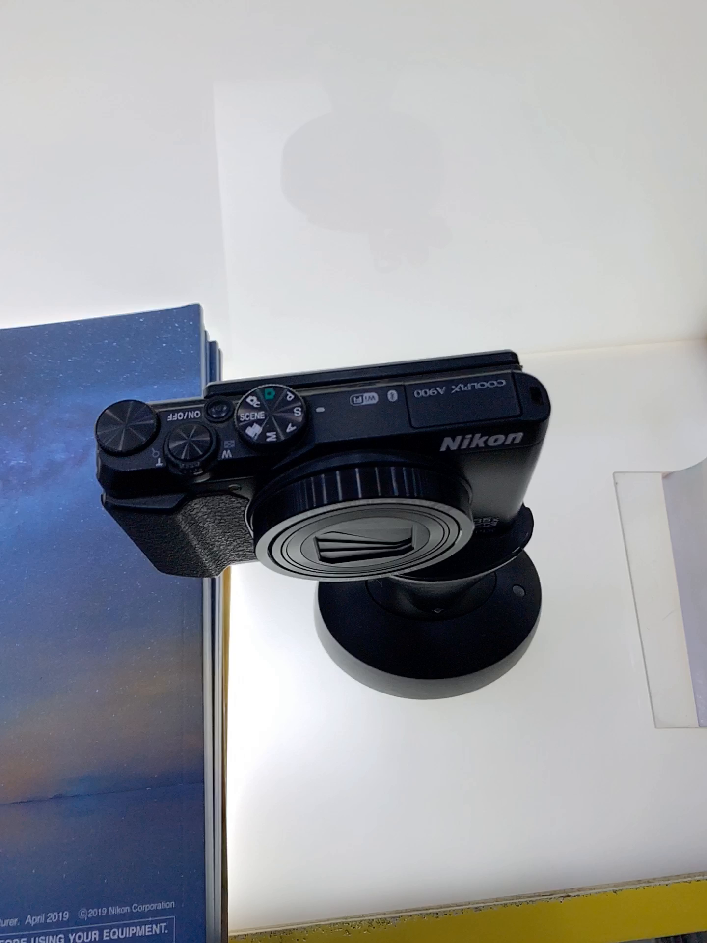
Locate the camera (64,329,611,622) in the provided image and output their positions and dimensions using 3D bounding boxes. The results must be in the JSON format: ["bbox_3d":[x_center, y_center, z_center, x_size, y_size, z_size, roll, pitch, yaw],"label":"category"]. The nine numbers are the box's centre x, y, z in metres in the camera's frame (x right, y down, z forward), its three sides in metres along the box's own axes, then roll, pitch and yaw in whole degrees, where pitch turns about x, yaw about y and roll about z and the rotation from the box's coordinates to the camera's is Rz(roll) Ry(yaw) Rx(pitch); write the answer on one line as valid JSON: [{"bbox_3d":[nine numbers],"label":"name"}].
[{"bbox_3d":[-0.005,0.004,0.195,0.120,0.060,0.040,-7,63,-3],"label":"camera"}]
